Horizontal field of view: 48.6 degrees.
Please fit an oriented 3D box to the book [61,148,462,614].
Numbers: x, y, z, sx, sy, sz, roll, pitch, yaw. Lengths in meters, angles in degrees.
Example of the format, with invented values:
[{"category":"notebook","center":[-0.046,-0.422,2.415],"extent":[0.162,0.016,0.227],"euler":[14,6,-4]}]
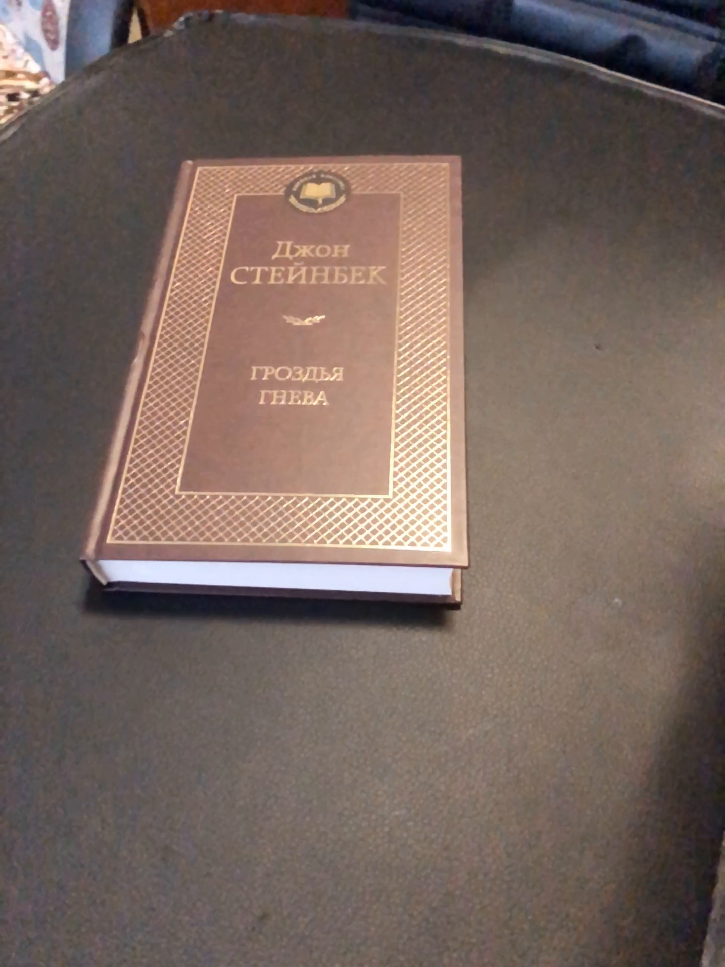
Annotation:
[{"category":"book","center":[-0.027,-0.051,0.323],"extent":[0.130,0.040,0.200],"euler":[1,60,5]}]
